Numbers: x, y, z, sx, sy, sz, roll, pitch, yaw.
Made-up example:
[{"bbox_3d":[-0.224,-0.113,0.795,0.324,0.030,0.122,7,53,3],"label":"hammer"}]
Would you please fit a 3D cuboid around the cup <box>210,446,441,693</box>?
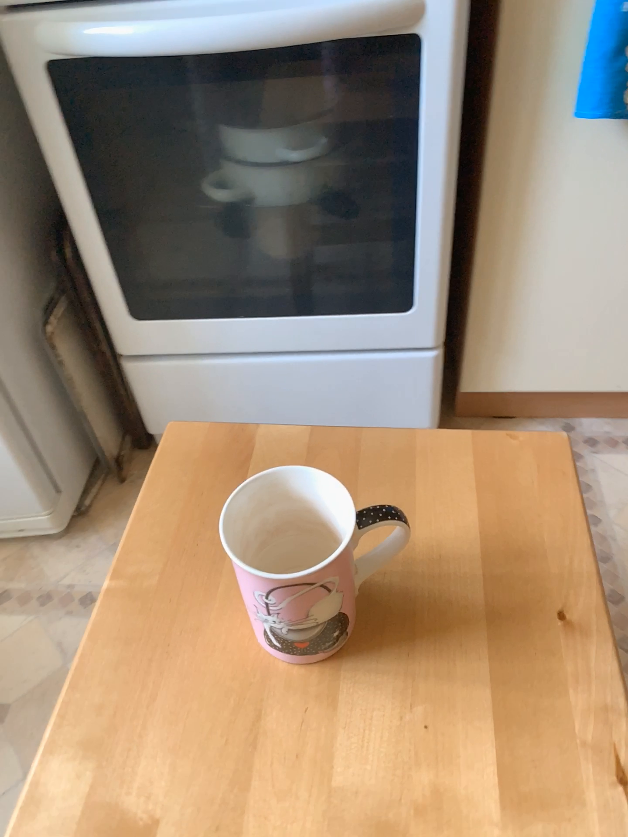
[{"bbox_3d":[0.006,0.089,0.378,0.110,0.099,0.081,-11,44,-4],"label":"cup"}]
